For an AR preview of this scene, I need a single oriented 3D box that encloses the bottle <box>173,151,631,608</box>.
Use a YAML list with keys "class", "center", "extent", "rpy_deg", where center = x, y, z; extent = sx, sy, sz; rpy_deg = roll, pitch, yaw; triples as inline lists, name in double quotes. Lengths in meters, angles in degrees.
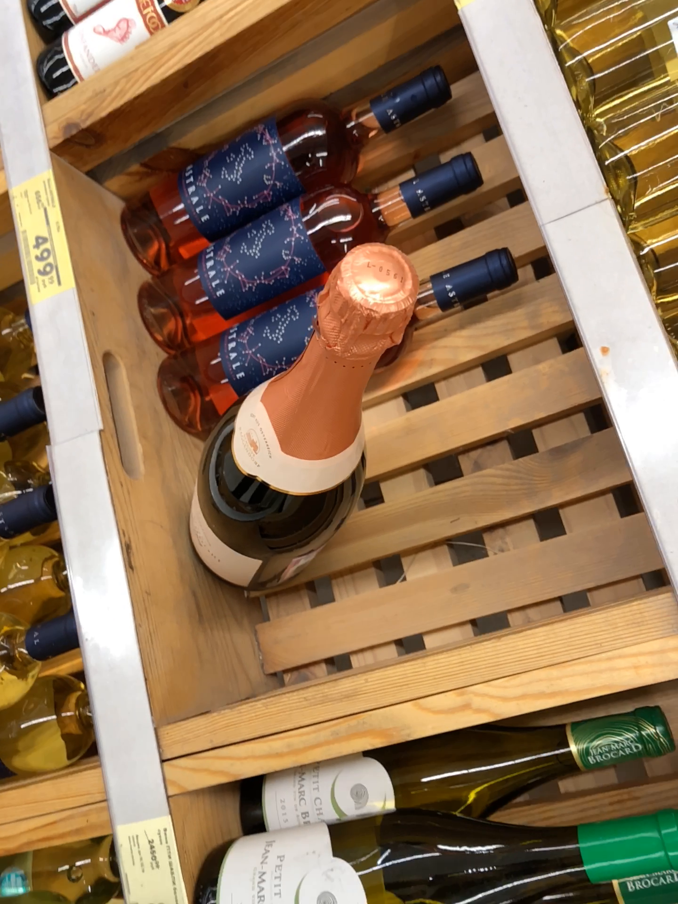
- class: "bottle"
  center: [-0.010, -0.004, 0.442]
  extent: [0.110, 0.359, 0.120]
  rpy_deg: [6, 70, -17]
